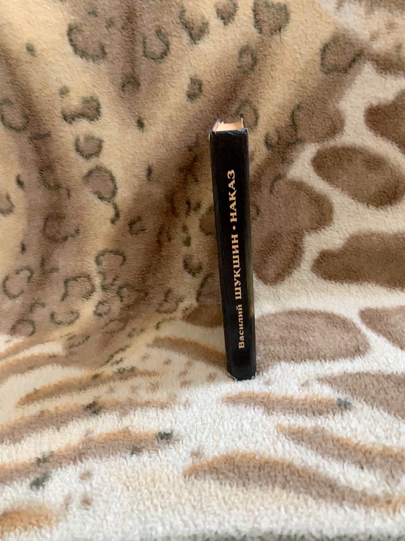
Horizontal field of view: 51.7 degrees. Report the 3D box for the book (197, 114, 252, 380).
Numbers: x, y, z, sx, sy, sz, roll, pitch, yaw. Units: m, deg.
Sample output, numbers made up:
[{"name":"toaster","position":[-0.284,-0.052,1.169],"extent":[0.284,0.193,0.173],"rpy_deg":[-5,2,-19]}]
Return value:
[{"name":"book","position":[0.024,-0.026,0.371],"extent":[0.030,0.198,0.131],"rpy_deg":[-2,25,6]}]
